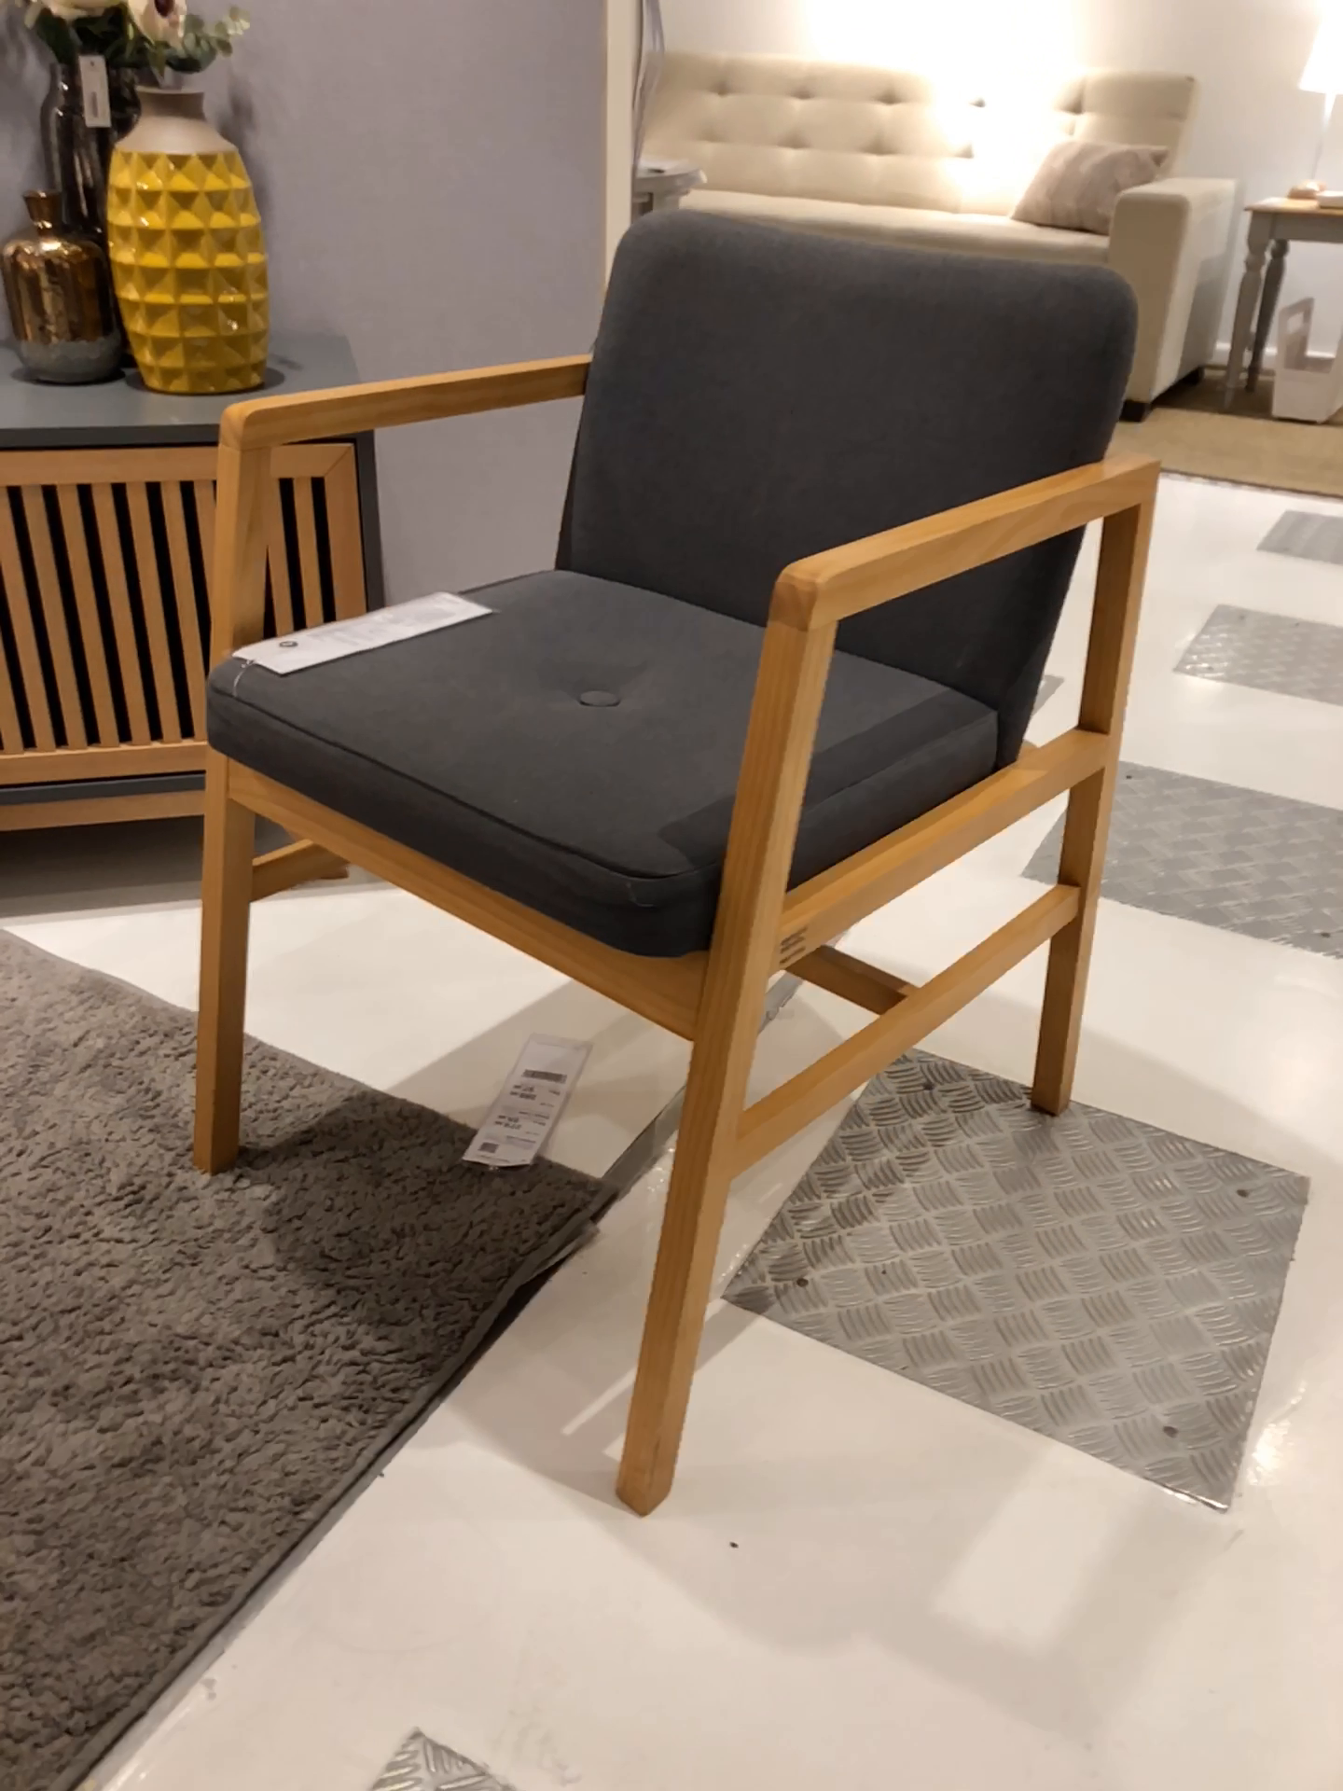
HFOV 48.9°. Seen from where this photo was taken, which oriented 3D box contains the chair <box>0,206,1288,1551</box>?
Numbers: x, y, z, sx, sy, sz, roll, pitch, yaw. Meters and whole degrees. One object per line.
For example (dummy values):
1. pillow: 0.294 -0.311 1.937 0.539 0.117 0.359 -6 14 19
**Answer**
1. chair: 0.005 -0.112 1.188 0.561 0.734 0.704 24 35 33
